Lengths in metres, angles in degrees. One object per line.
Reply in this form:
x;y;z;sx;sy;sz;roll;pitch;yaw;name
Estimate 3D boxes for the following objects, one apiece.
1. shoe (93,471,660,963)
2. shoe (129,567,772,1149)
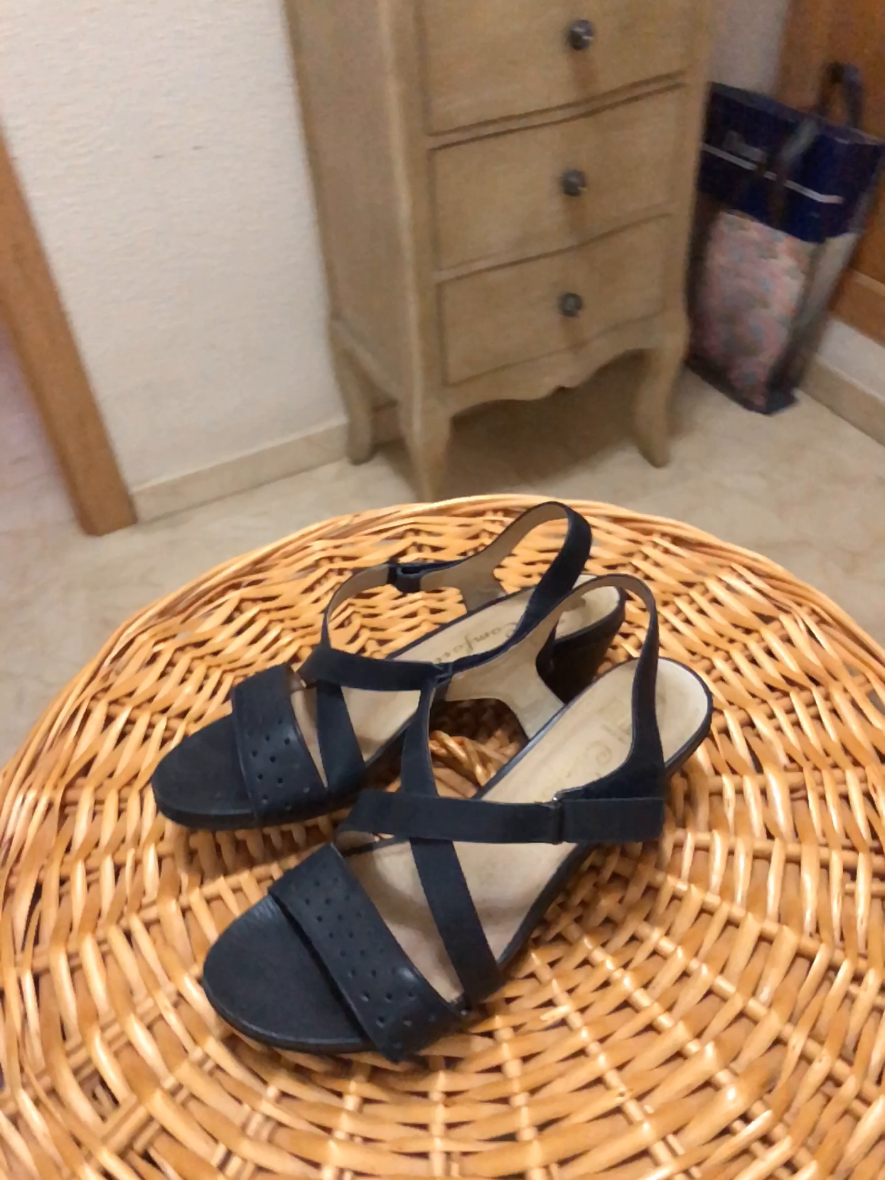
-0.033;0.057;0.487;0.247;0.092;0.100;-30;37;-5;shoe
0.012;0.106;0.418;0.248;0.088;0.090;-31;49;-14;shoe
